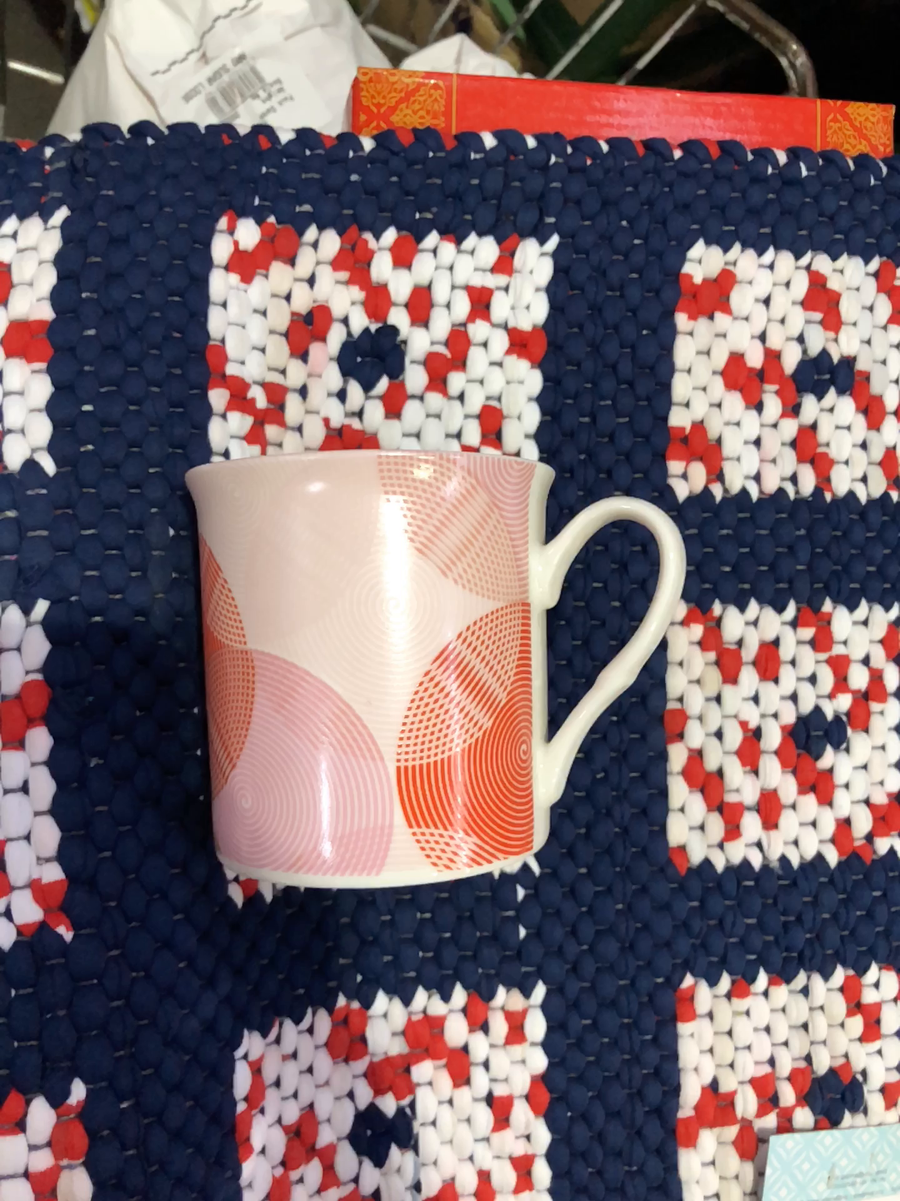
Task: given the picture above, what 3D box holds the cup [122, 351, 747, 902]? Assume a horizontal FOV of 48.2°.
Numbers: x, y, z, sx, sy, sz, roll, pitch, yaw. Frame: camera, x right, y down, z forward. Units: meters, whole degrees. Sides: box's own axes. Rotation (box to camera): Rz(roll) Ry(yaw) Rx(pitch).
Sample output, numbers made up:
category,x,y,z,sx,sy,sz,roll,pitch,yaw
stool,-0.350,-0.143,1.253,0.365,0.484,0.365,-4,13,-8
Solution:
category,x,y,z,sx,sy,sz,roll,pitch,yaw
cup,0.003,0.010,0.246,0.120,0.100,0.100,-4,86,12
